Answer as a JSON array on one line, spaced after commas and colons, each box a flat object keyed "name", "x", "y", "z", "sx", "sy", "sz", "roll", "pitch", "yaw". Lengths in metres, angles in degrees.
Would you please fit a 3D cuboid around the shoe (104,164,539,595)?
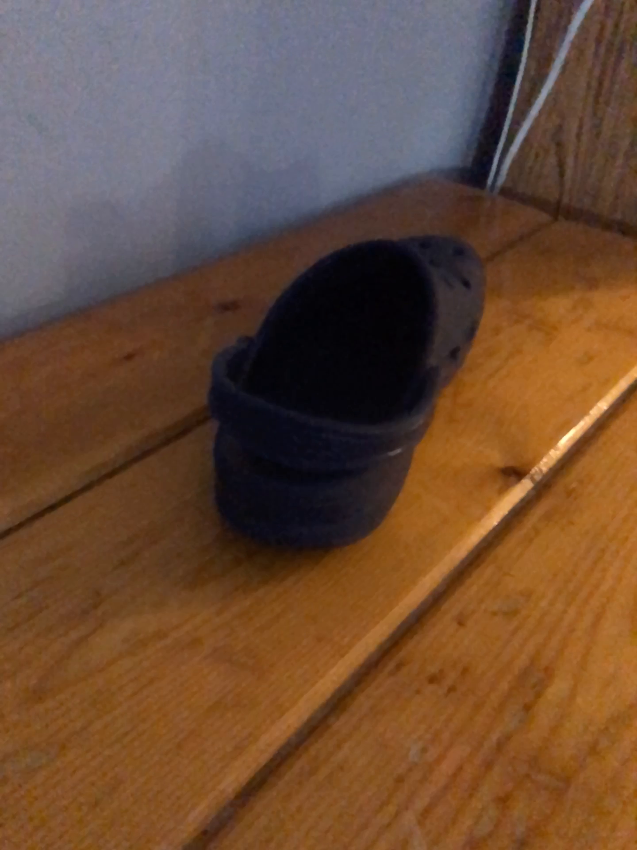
[{"name": "shoe", "x": 0.026, "y": -0.057, "z": 0.406, "sx": 0.130, "sy": 0.080, "sz": 0.291, "roll": 18, "pitch": 40, "yaw": 16}]
